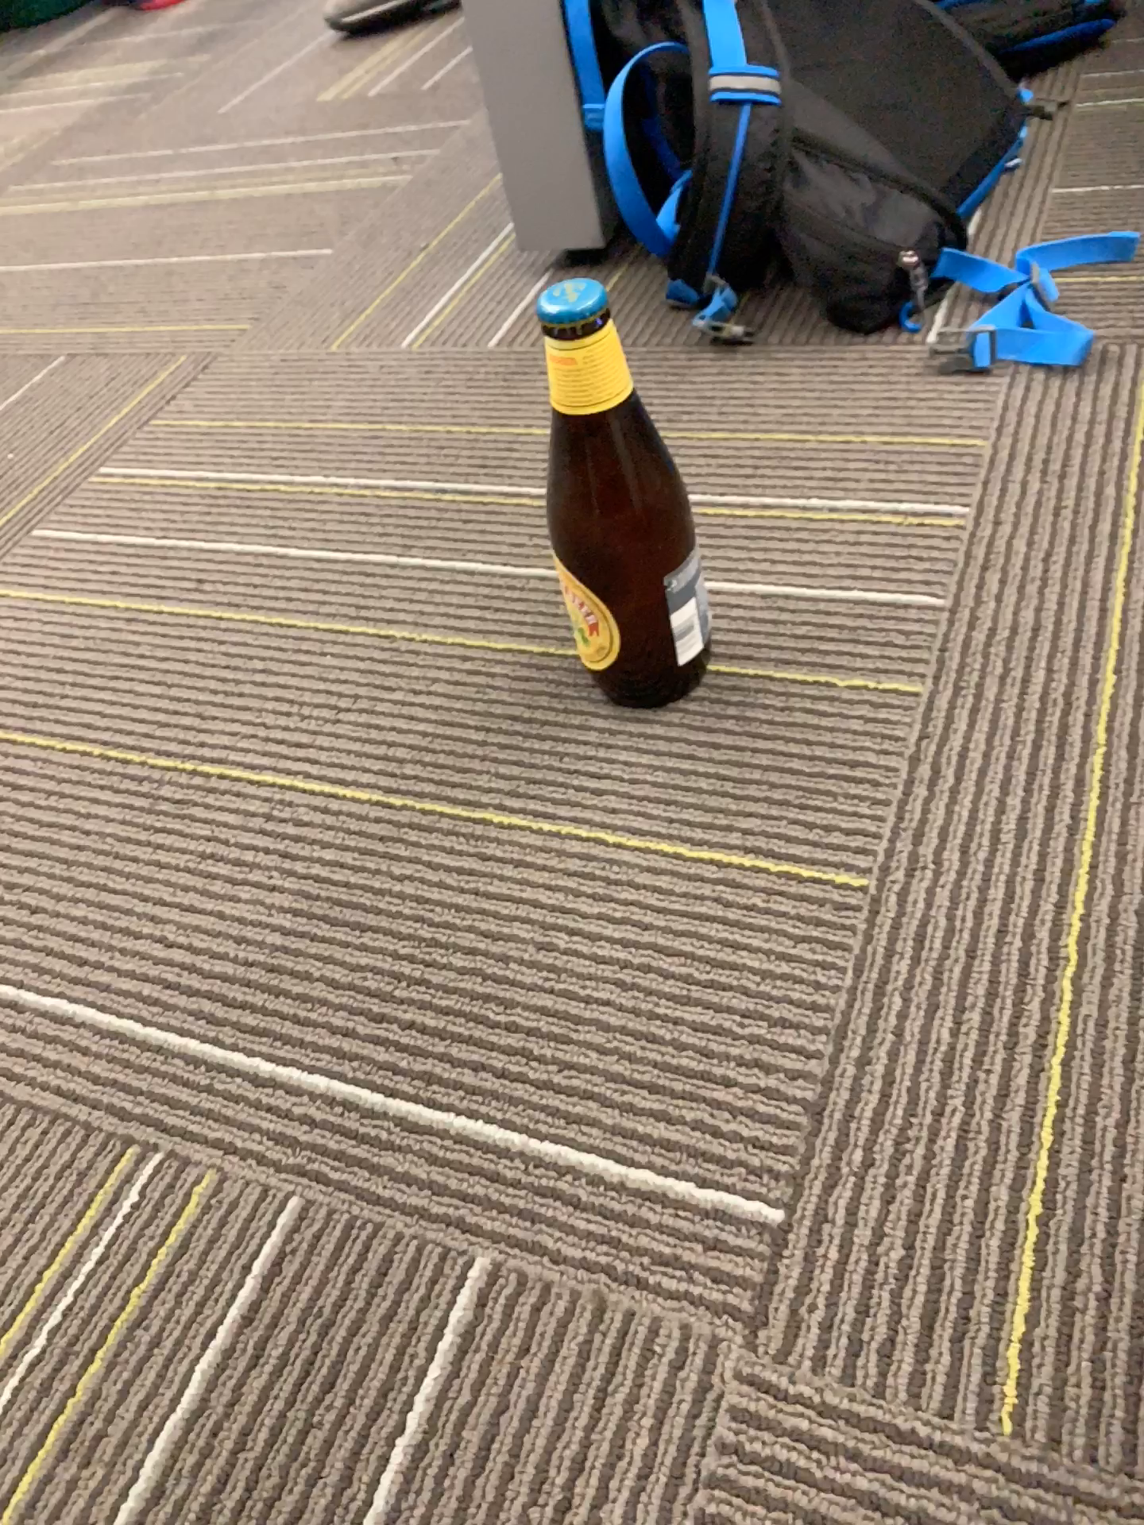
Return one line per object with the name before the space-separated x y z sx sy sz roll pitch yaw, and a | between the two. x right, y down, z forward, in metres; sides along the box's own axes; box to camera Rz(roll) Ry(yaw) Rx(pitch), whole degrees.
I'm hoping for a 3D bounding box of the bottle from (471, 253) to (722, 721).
bottle | 0.018 -0.110 0.509 0.070 0.179 0.070 -8 45 8
